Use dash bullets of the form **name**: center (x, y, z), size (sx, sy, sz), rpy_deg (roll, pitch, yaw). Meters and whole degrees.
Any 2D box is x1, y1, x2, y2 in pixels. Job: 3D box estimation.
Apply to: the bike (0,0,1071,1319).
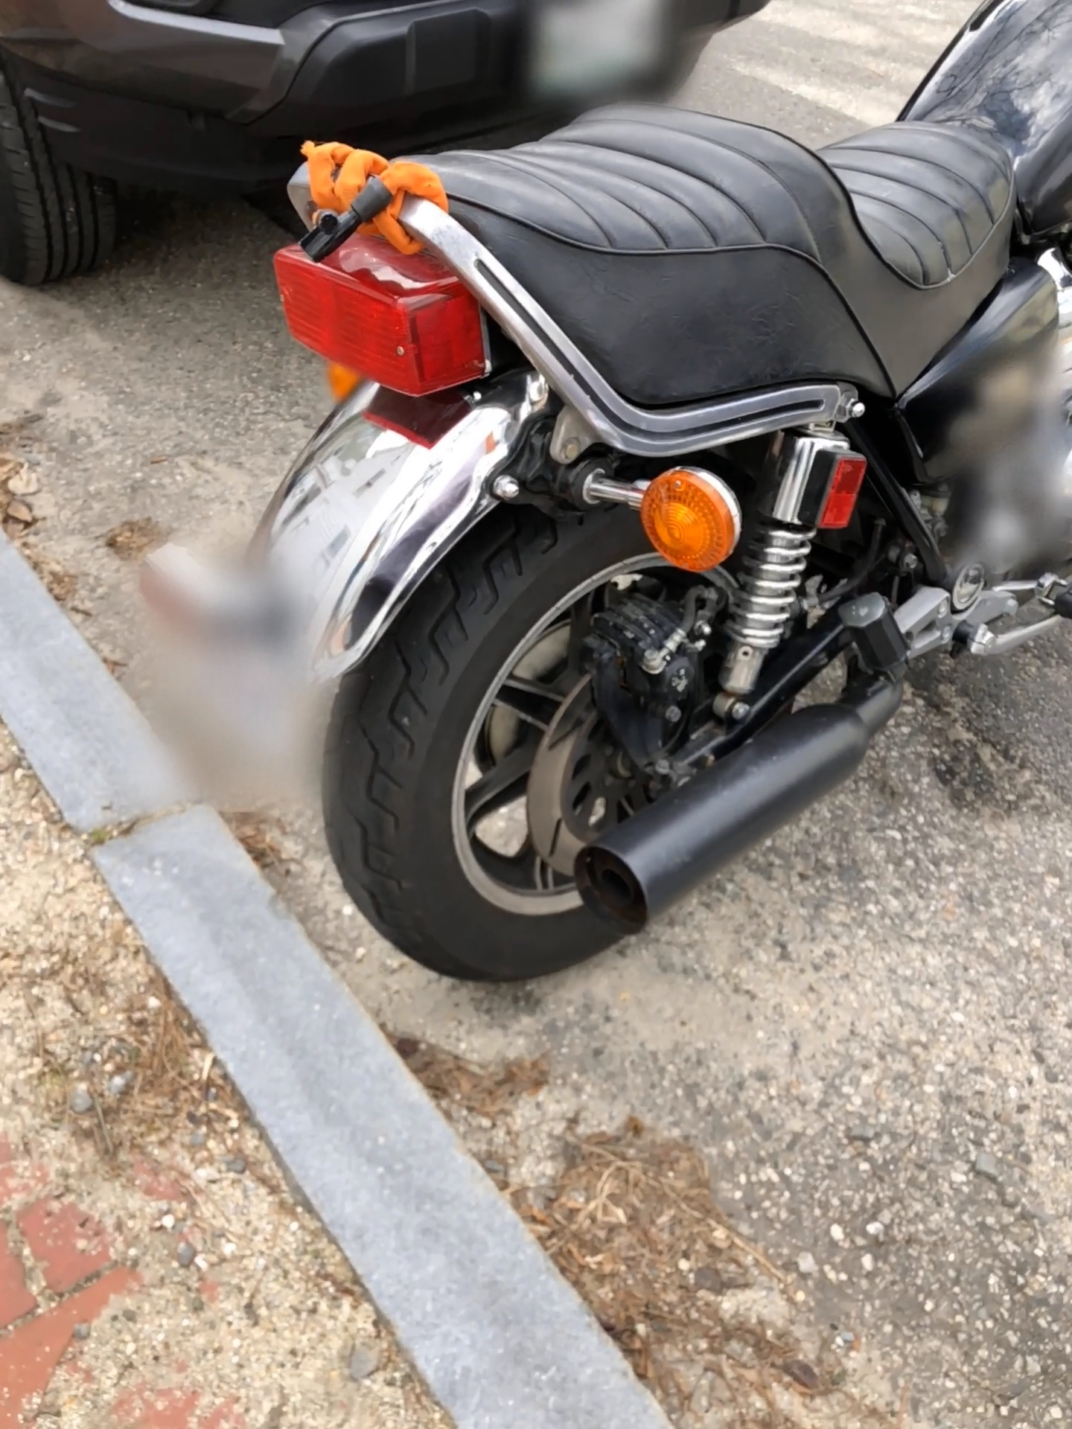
- **bike**: center (0.661, -0.570, 1.571), size (2.306, 1.418, 0.688), rpy_deg (-31, 52, -30)
